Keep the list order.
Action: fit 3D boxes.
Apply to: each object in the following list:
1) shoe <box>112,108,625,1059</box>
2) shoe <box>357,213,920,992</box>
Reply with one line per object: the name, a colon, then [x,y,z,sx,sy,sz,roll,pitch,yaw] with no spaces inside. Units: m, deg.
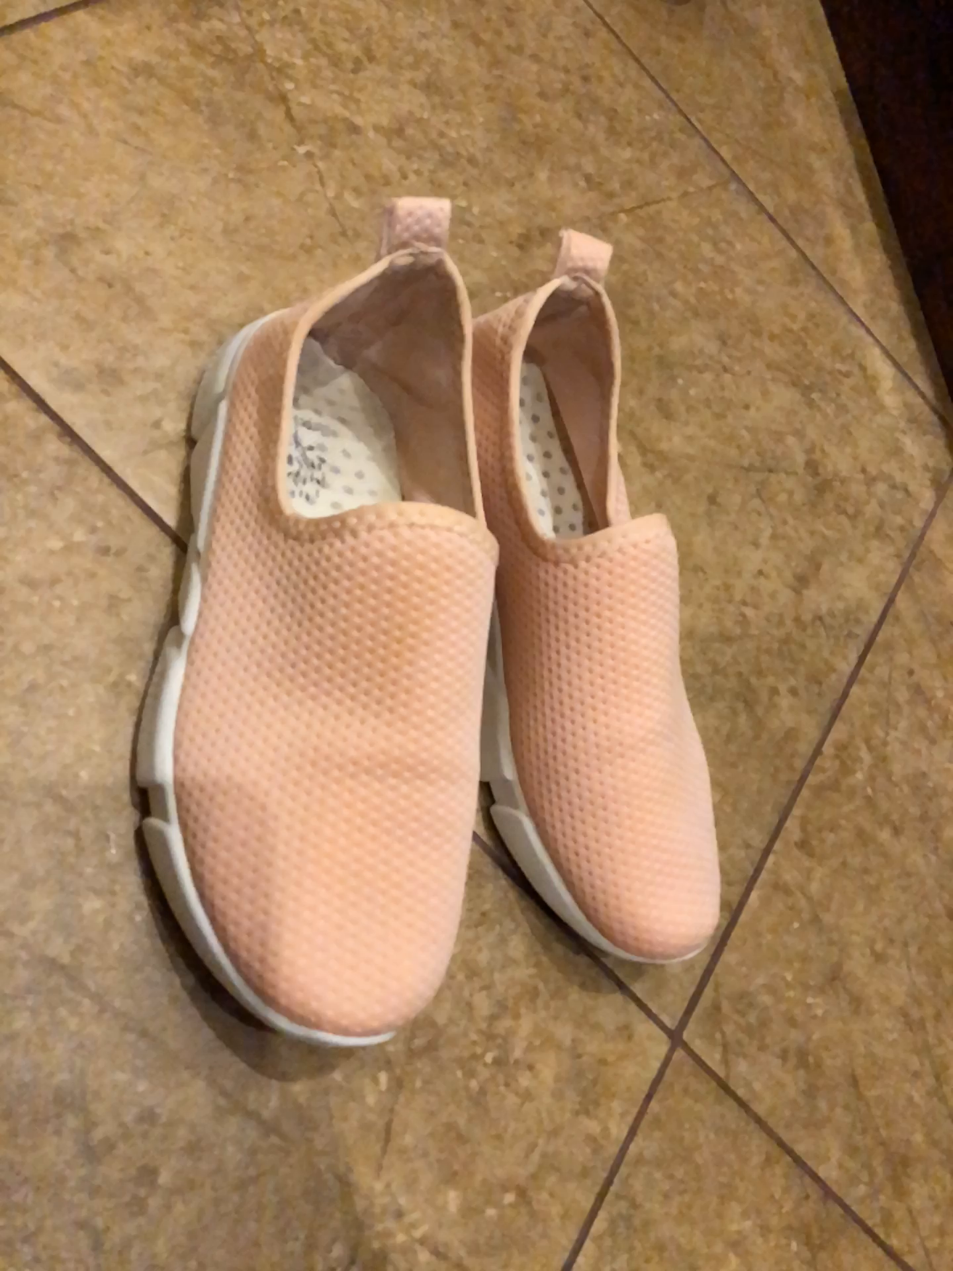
shoe: [-0.044,-0.008,0.315,0.090,0.119,0.241,8,65,-29]
shoe: [0.044,-0.010,0.363,0.090,0.100,0.230,-4,71,-34]
